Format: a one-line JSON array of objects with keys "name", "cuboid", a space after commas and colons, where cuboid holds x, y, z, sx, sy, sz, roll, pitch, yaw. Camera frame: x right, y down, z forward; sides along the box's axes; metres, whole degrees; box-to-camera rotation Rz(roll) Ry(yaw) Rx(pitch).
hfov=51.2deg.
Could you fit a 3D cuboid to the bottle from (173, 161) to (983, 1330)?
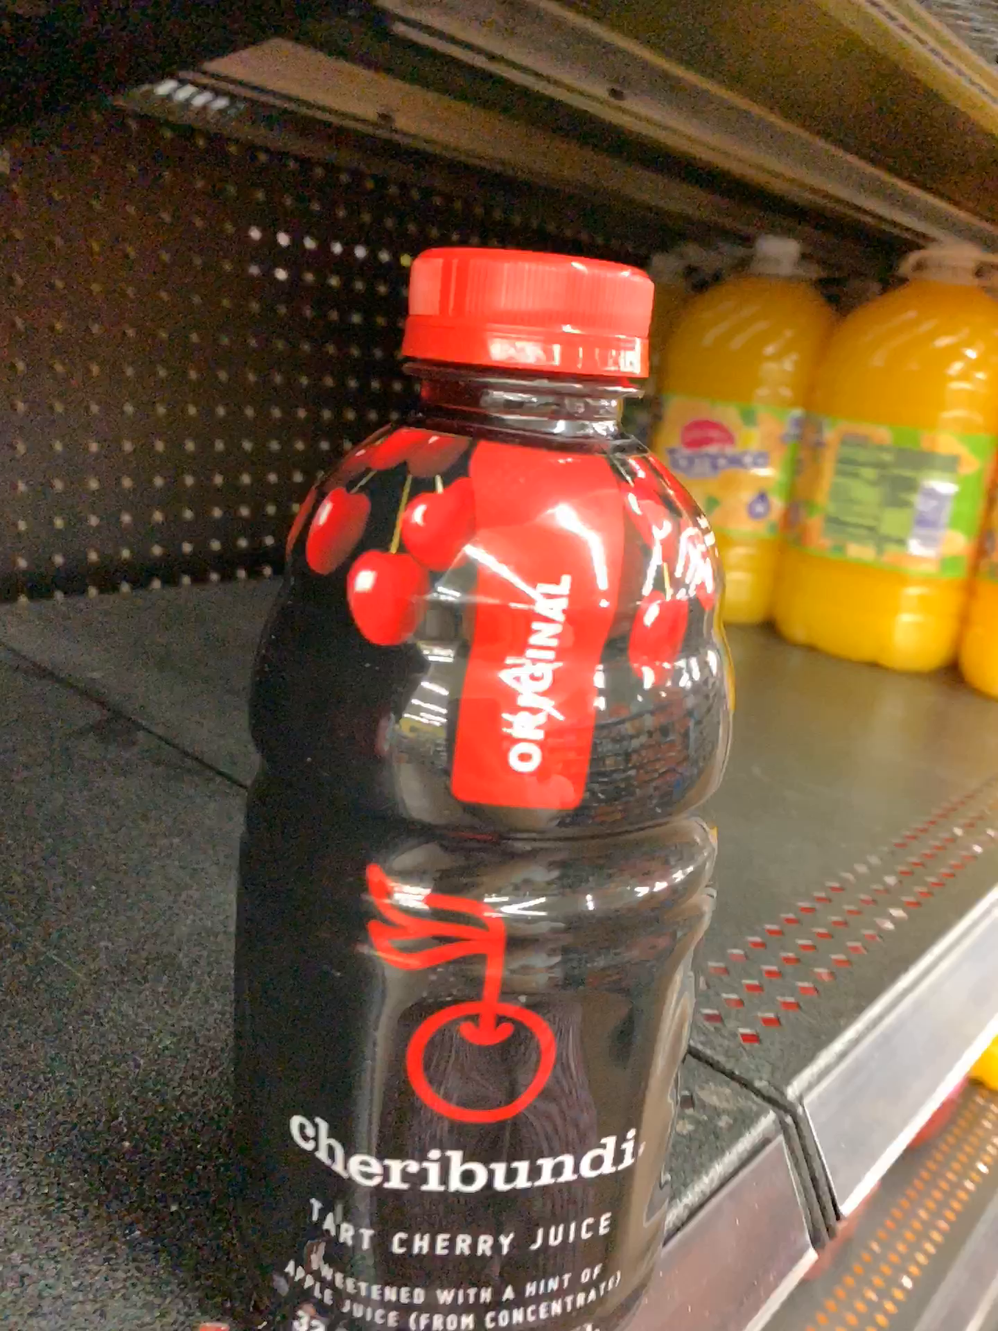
[{"name": "bottle", "cuboid": [-0.001, 0.028, 0.199, 0.095, 0.205, 0.090, 6, 17, -2]}]
